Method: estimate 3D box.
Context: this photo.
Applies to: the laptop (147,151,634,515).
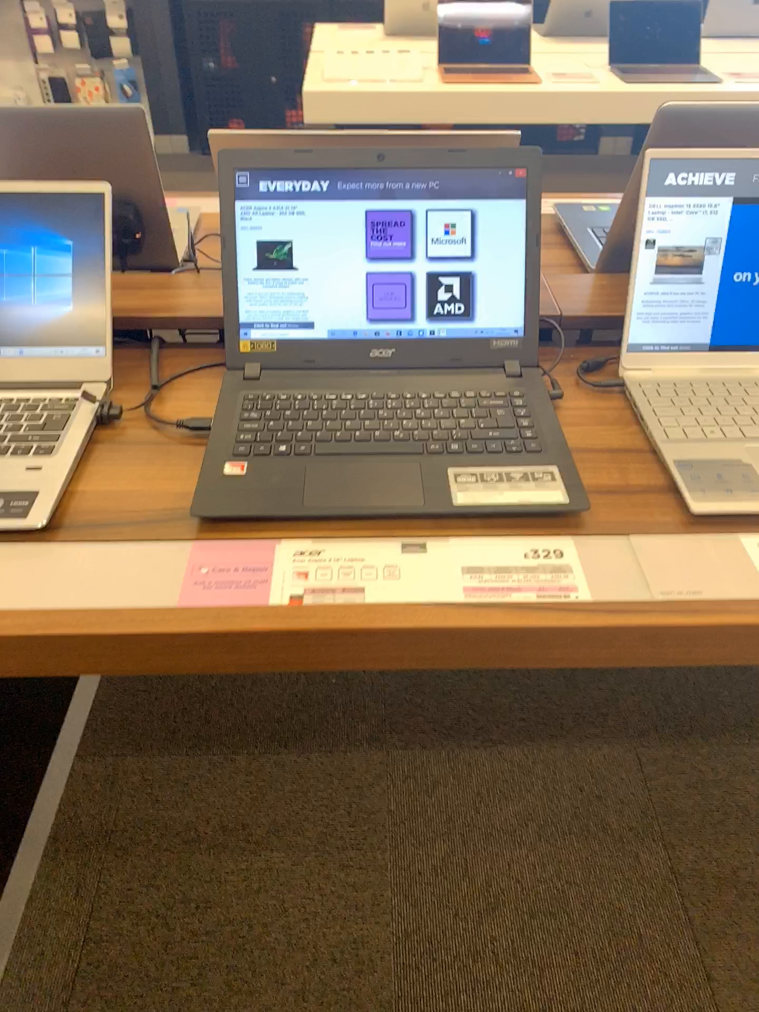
[{"bbox_3d":[0.000,-0.179,0.719,0.324,0.193,0.358,-1,38,-2],"label":"laptop"}]
